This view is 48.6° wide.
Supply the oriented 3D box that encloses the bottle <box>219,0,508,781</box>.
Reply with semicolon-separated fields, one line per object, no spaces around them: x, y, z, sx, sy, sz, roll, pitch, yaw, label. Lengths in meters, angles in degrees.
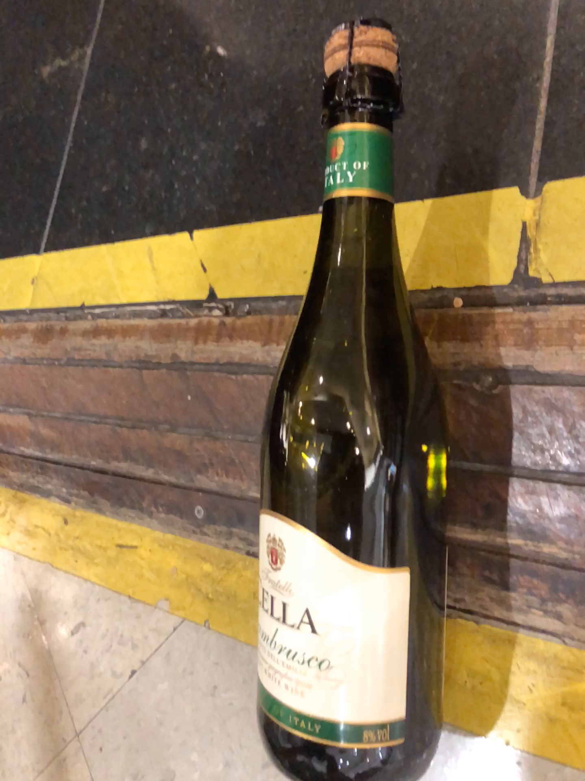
0.024;0.005;0.261;0.090;0.060;0.310;5;97;38;bottle
